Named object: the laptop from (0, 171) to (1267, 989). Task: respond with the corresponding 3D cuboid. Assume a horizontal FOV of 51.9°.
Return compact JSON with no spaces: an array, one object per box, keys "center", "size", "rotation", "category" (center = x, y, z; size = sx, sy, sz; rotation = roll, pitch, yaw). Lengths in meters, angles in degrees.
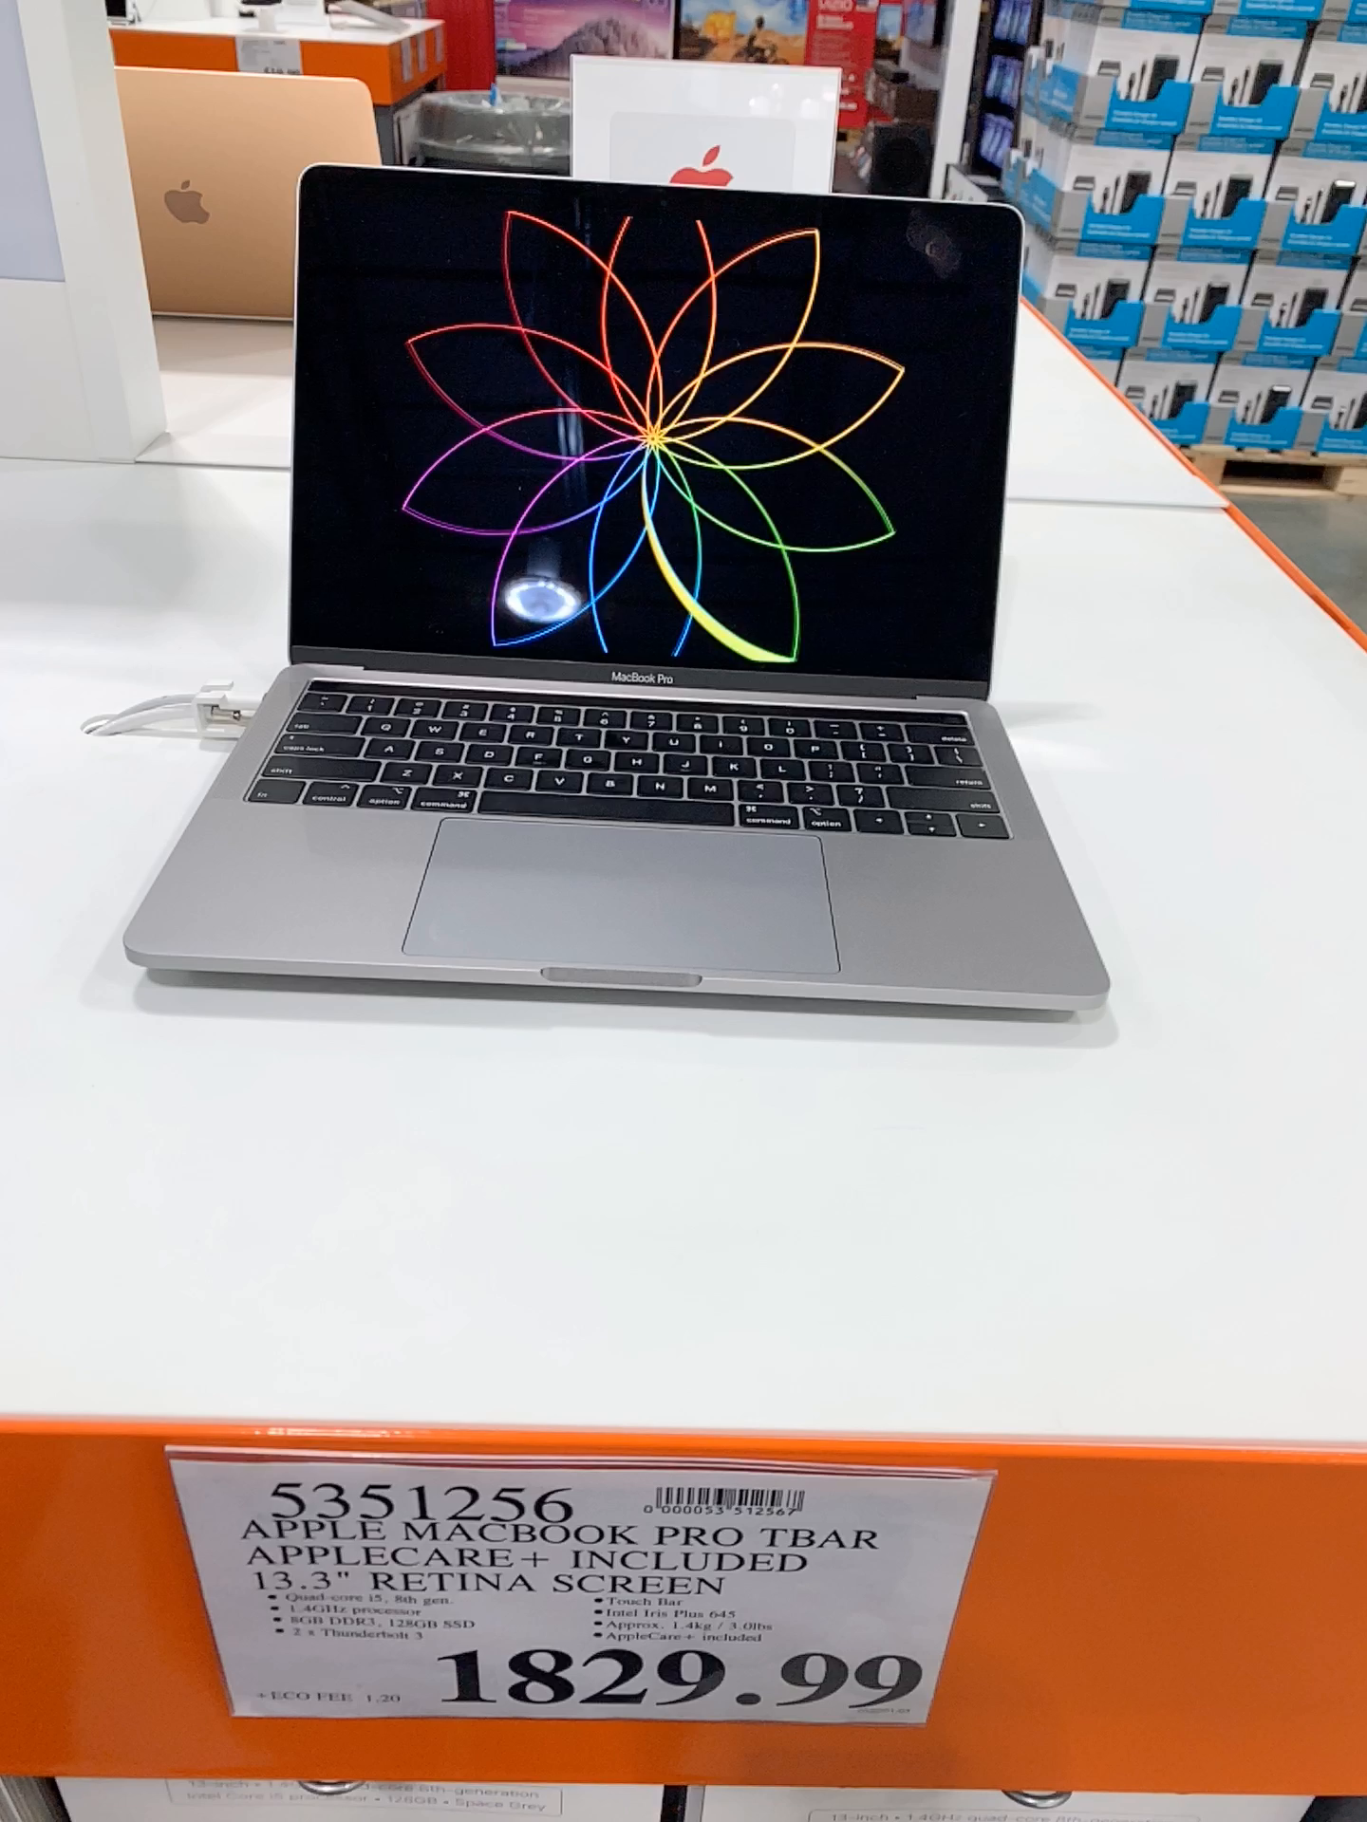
[{"center":[-0.013,-0.139,0.490],"size":[0.289,0.165,0.308],"rotation":[3,34,-1],"category":"laptop"}]
